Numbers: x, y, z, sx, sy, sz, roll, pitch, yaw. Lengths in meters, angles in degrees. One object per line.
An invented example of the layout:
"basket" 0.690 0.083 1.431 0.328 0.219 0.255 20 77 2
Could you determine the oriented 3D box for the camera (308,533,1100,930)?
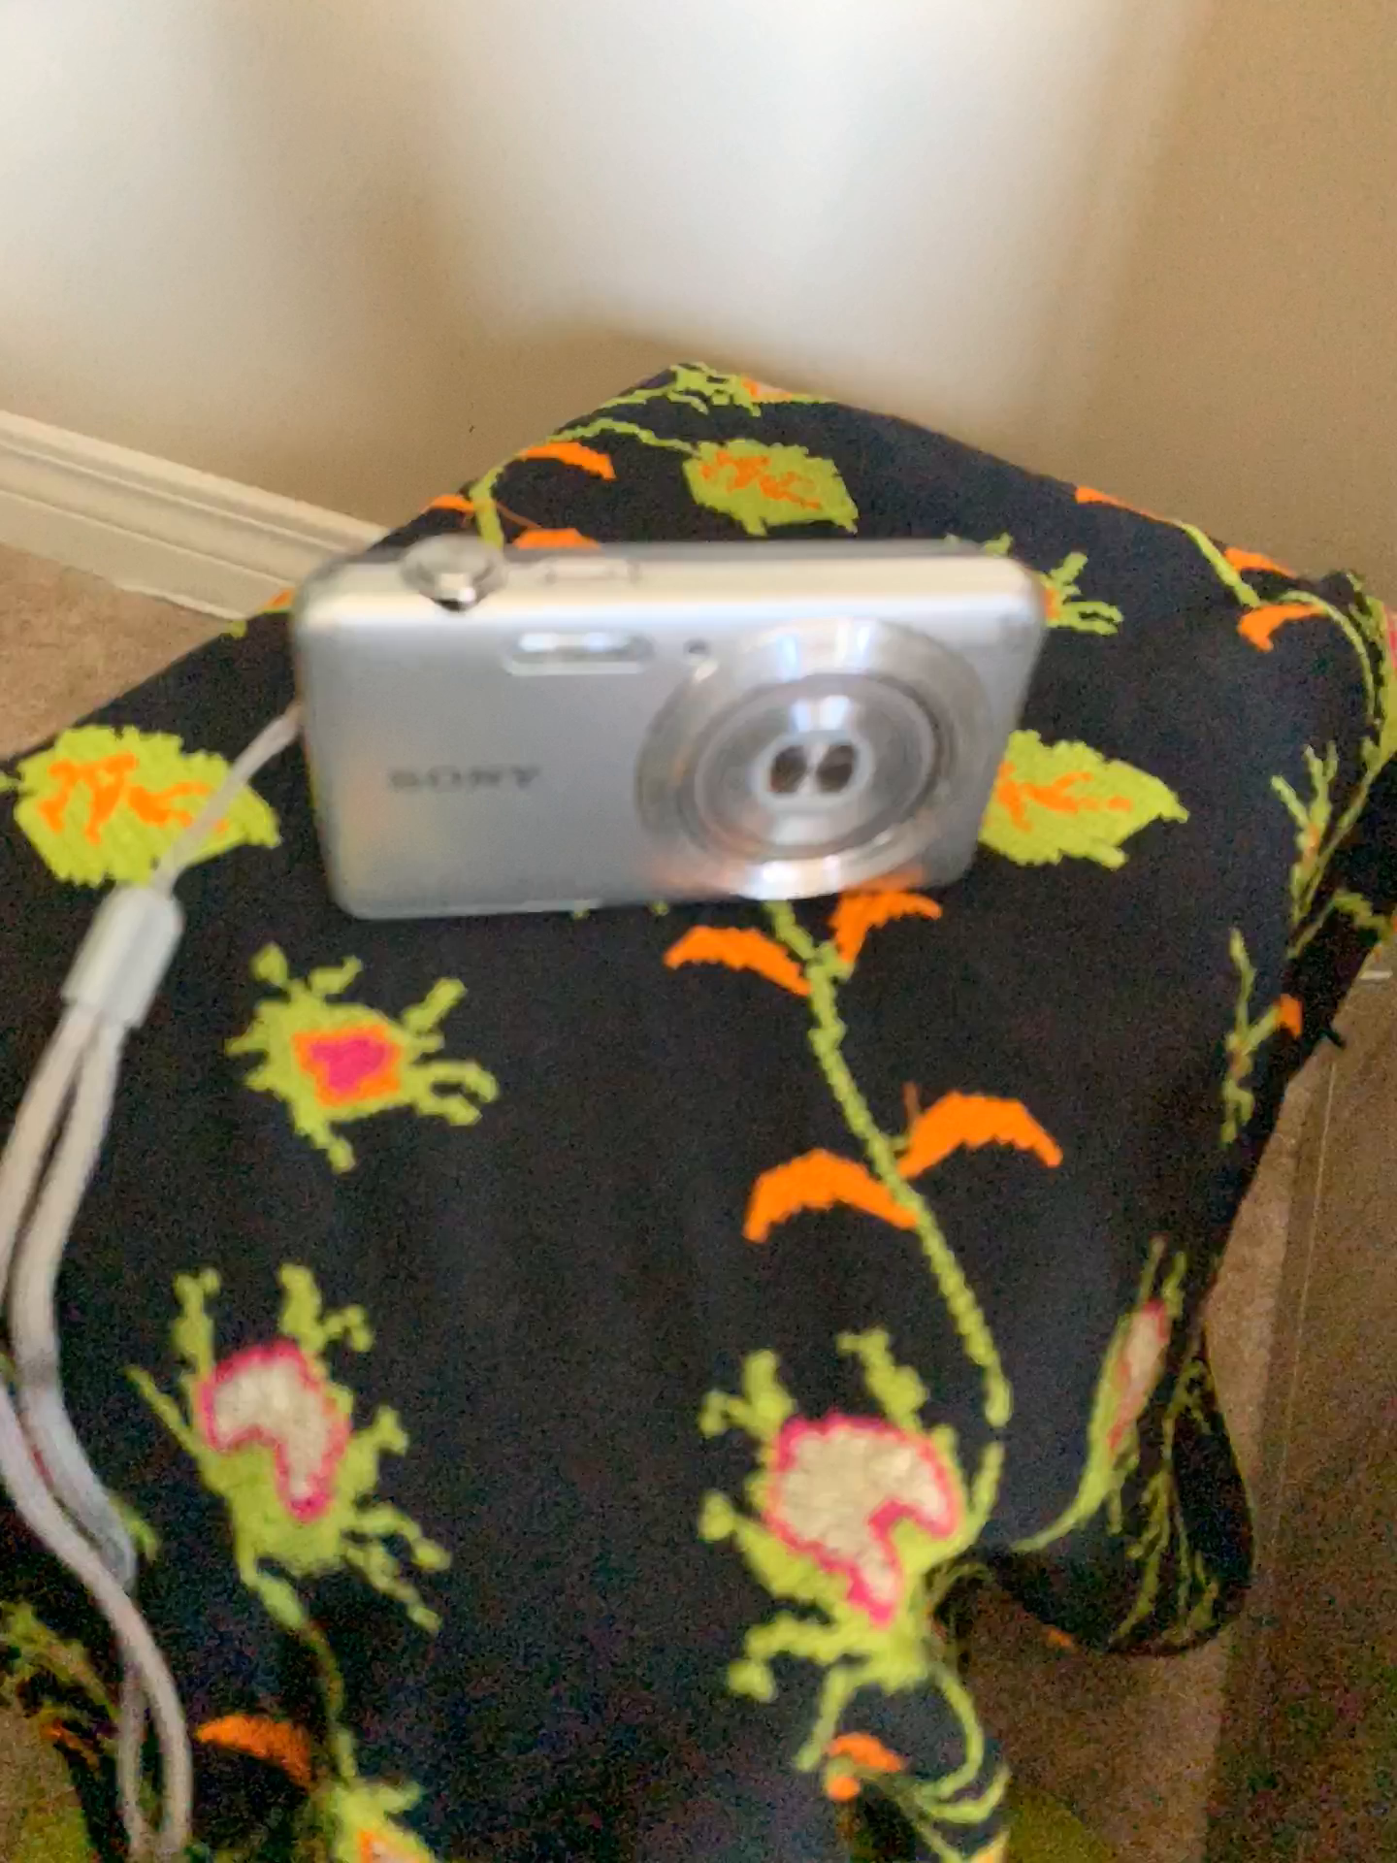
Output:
"camera" -0.001 -0.024 0.174 0.086 0.042 0.020 -3 45 -10
